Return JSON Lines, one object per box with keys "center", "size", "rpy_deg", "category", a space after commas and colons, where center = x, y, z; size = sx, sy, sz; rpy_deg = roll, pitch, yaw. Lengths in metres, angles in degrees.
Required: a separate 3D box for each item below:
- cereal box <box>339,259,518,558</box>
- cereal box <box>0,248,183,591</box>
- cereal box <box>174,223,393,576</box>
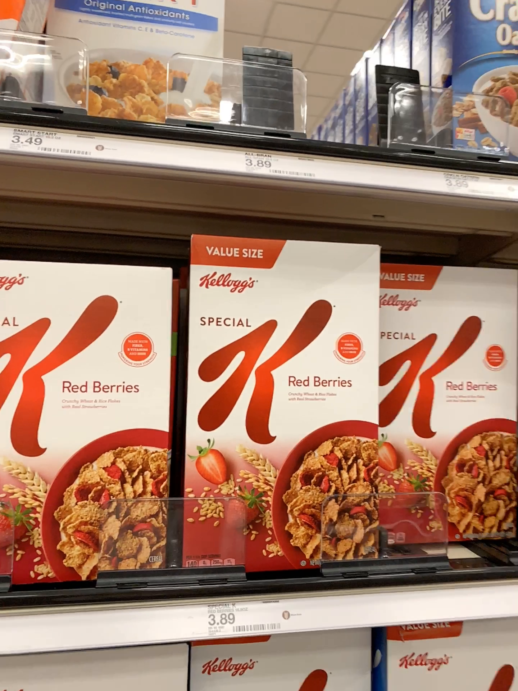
{"center": [0.206, 0.072, 0.642], "size": [0.200, 0.330, 0.060], "rpy_deg": [2, -2, -13], "category": "cereal box"}
{"center": [-0.180, 0.065, 0.504], "size": [0.200, 0.290, 0.060], "rpy_deg": [2, -2, -13], "category": "cereal box"}
{"center": [0.023, 0.052, 0.535], "size": [0.200, 0.320, 0.060], "rpy_deg": [2, -2, -11], "category": "cereal box"}
